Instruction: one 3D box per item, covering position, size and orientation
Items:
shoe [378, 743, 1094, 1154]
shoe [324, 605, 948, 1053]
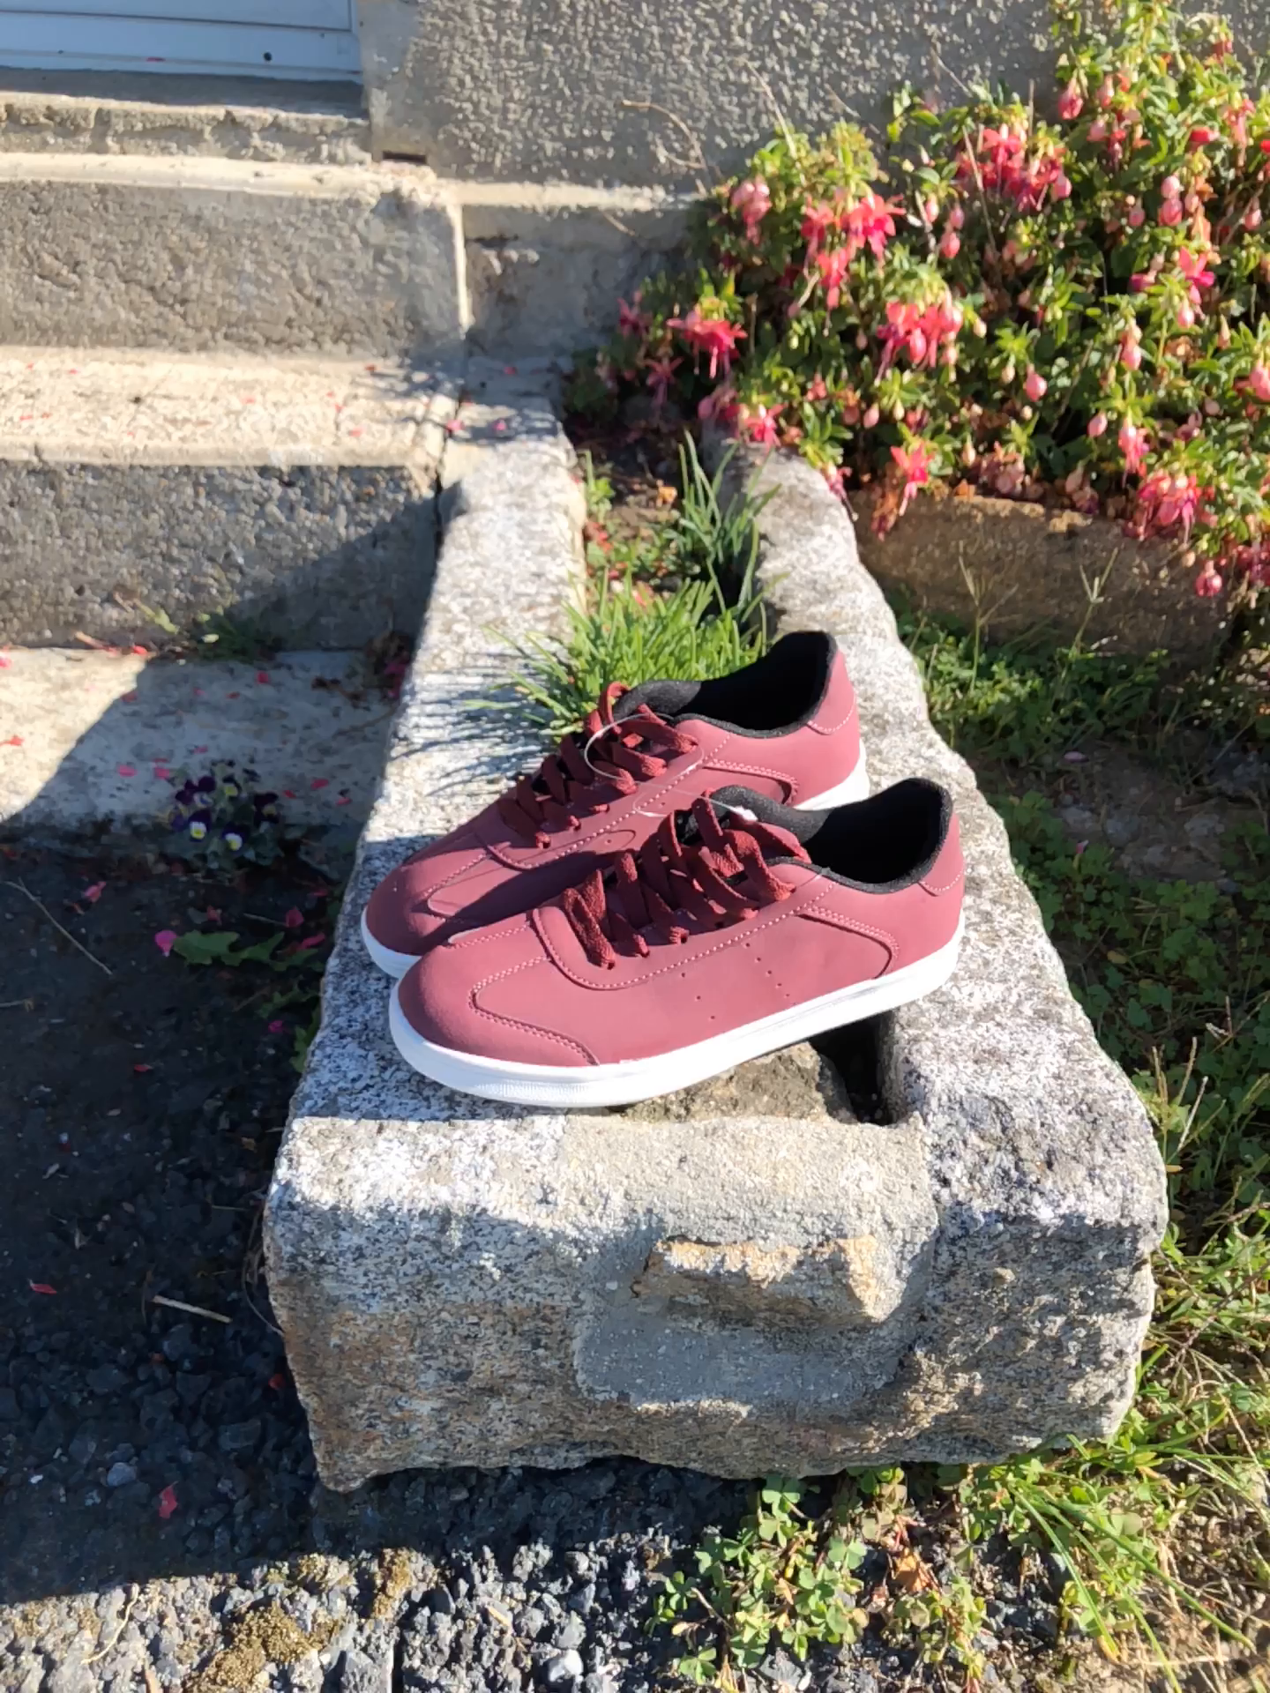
[{"bbox_3d":[0.038,0.032,0.563,0.261,0.080,0.100,-9,33,-19],"label":"shoe"},{"bbox_3d":[0.006,-0.017,0.640,0.261,0.080,0.100,-22,38,-17],"label":"shoe"}]
